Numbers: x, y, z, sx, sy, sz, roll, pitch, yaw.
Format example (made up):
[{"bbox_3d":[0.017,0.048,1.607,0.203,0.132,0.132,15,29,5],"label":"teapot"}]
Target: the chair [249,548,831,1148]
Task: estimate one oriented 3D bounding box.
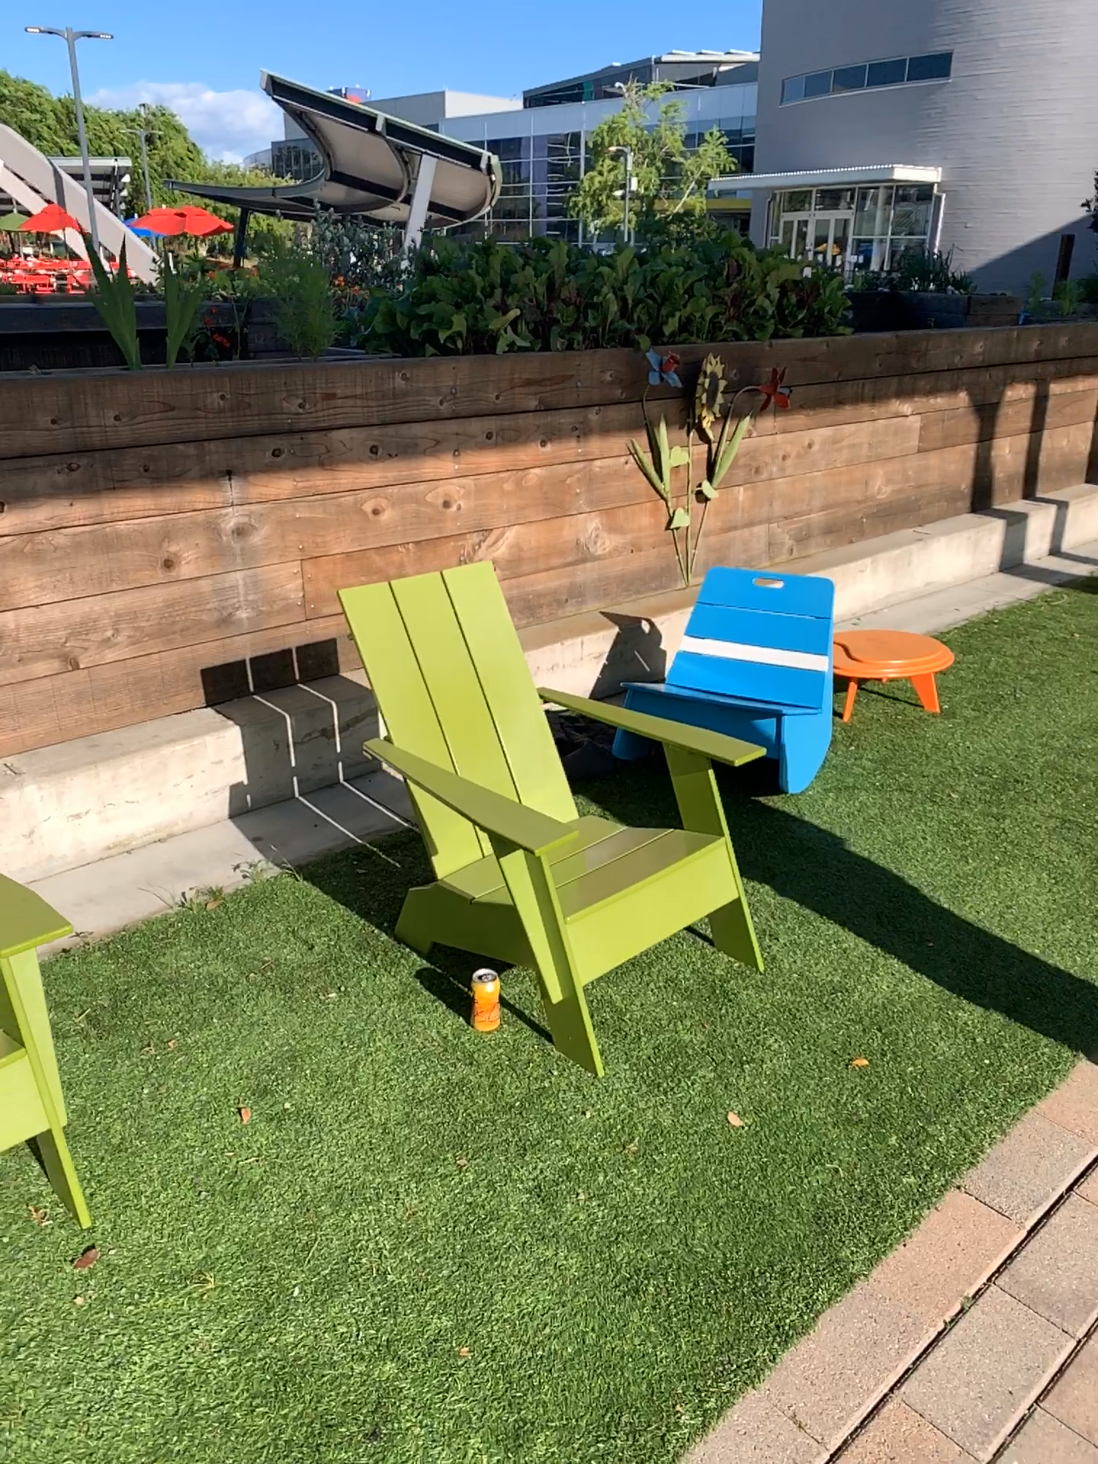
[{"bbox_3d":[-0.049,0.159,2.673,0.851,0.895,1.004,-18,29,-38],"label":"chair"}]
